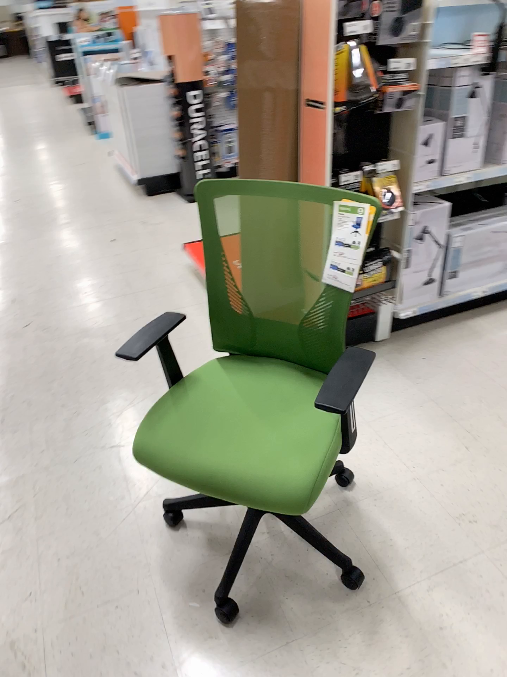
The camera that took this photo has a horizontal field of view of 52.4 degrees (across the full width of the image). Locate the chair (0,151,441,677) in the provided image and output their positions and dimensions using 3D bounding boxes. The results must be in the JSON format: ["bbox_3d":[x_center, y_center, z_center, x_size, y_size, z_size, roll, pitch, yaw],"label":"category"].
[{"bbox_3d":[0.011,0.139,1.304,0.671,0.994,0.673,11,35,21],"label":"chair"}]
